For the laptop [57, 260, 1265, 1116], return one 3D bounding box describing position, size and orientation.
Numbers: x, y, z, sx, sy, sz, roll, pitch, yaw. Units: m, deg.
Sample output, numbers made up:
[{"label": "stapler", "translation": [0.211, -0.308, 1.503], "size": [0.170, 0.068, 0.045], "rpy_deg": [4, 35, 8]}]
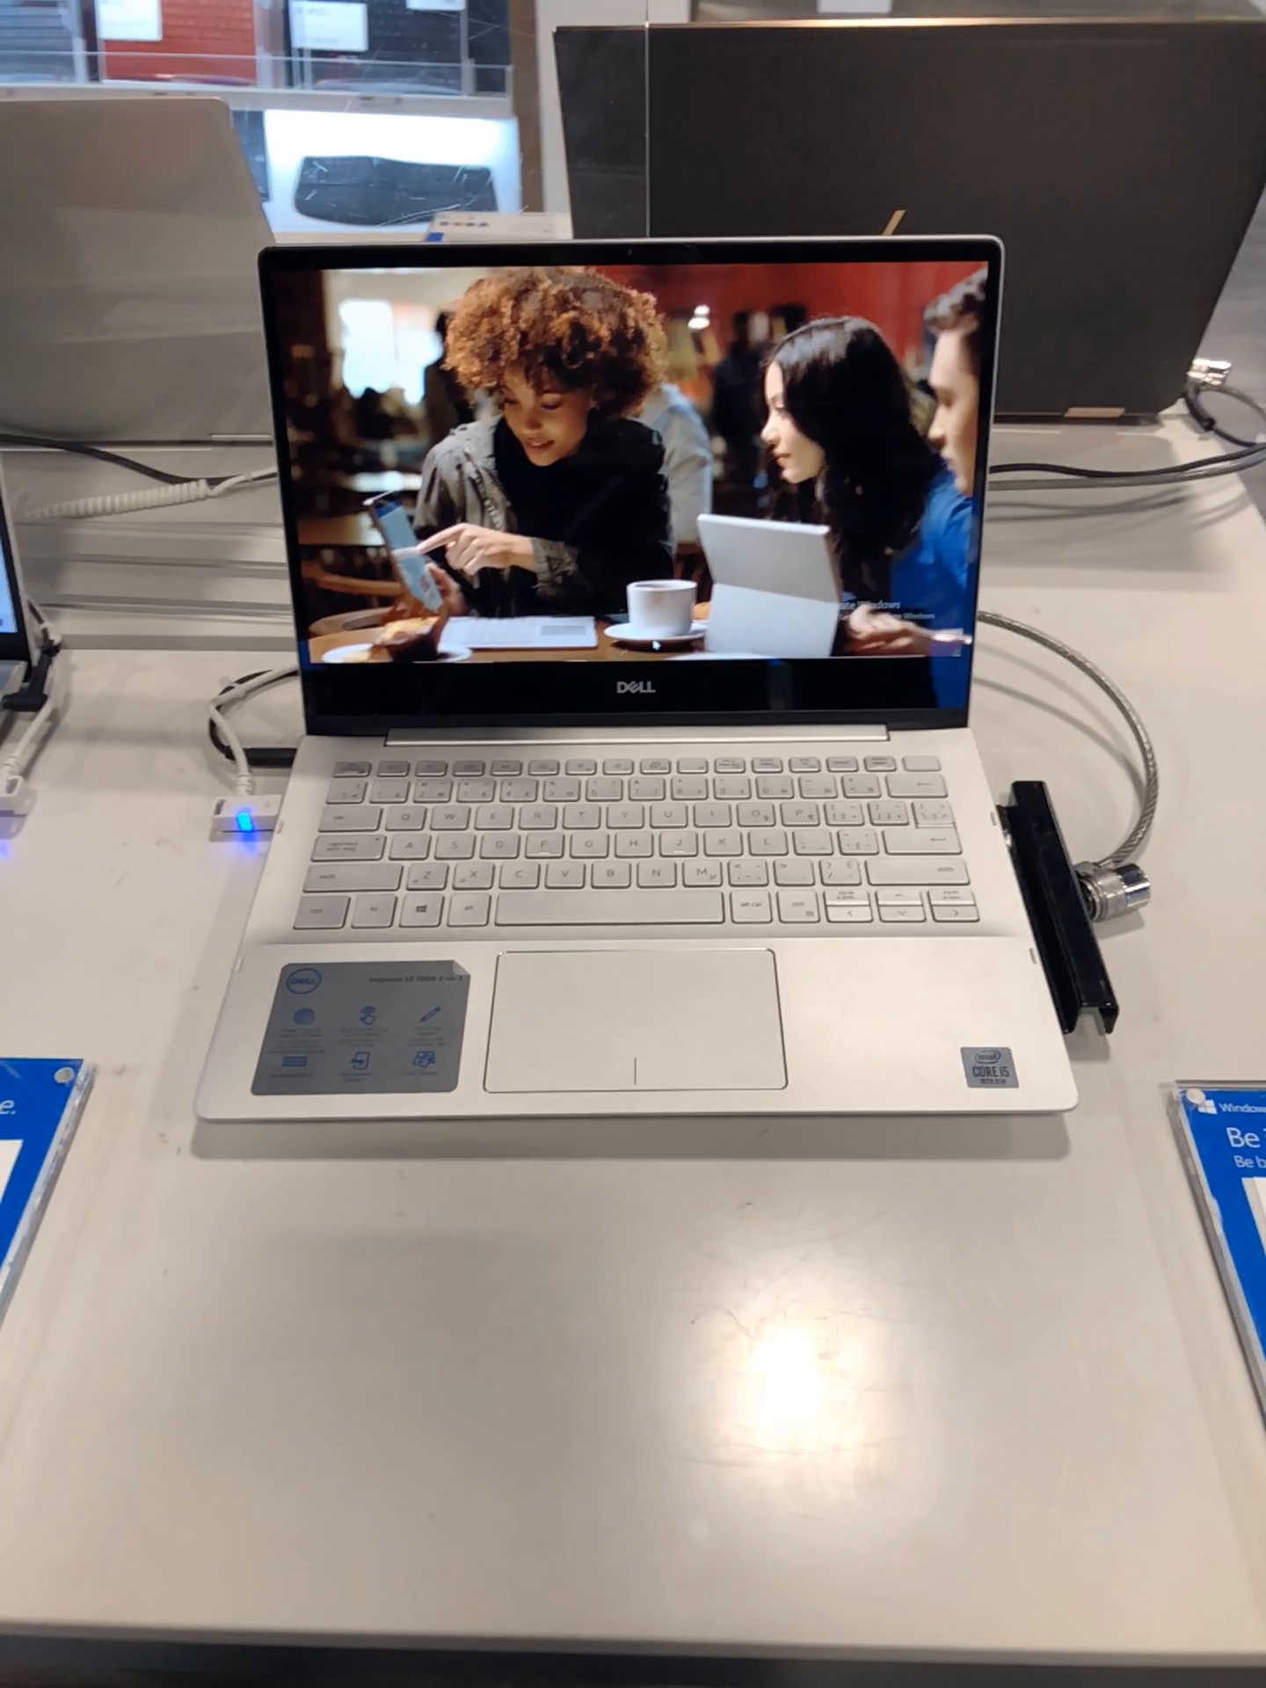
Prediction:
[{"label": "laptop", "translation": [0.007, -0.066, 0.490], "size": [0.285, 0.186, 0.265], "rpy_deg": [0, 42, 1]}]
